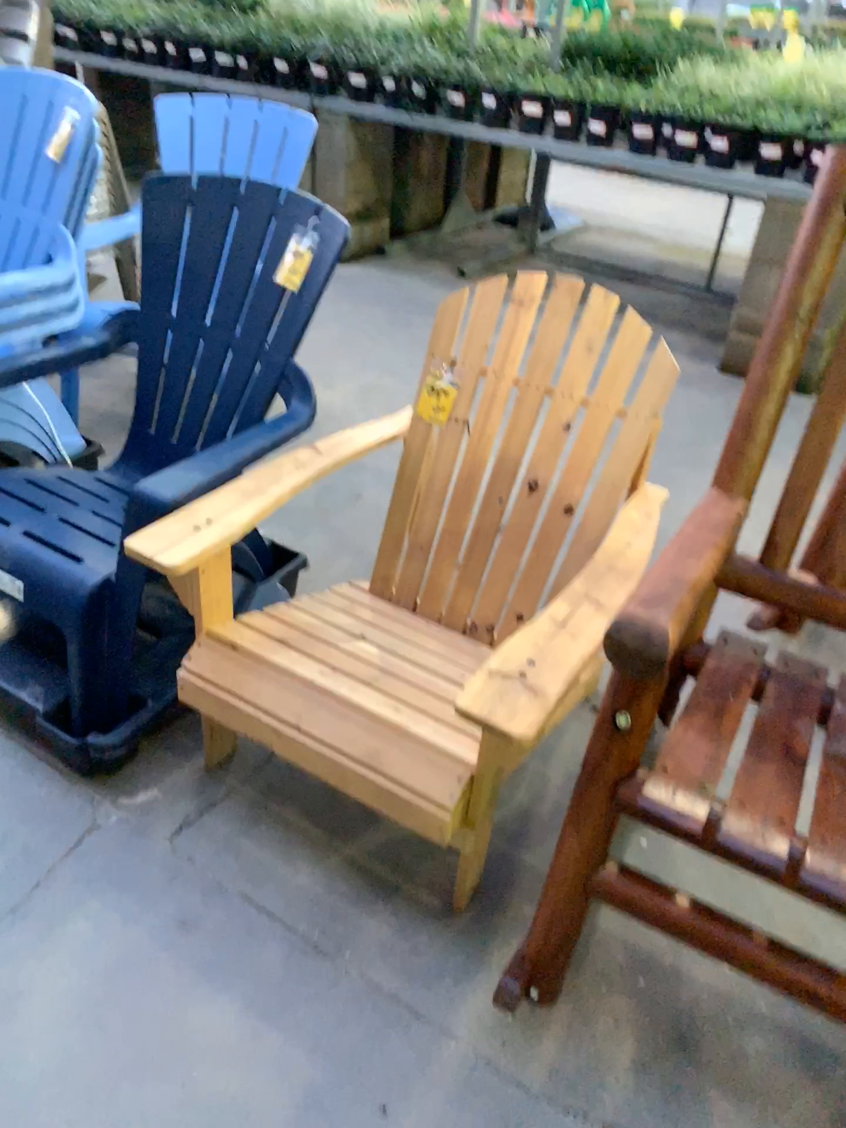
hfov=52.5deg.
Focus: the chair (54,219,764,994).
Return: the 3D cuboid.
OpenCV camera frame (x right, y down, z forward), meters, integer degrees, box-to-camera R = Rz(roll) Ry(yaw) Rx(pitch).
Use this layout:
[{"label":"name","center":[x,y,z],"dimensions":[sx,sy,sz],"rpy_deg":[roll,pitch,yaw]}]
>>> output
[{"label":"chair","center":[0.020,-0.017,1.569],"dimensions":[0.728,0.886,0.895],"rpy_deg":[22,39,23]}]
